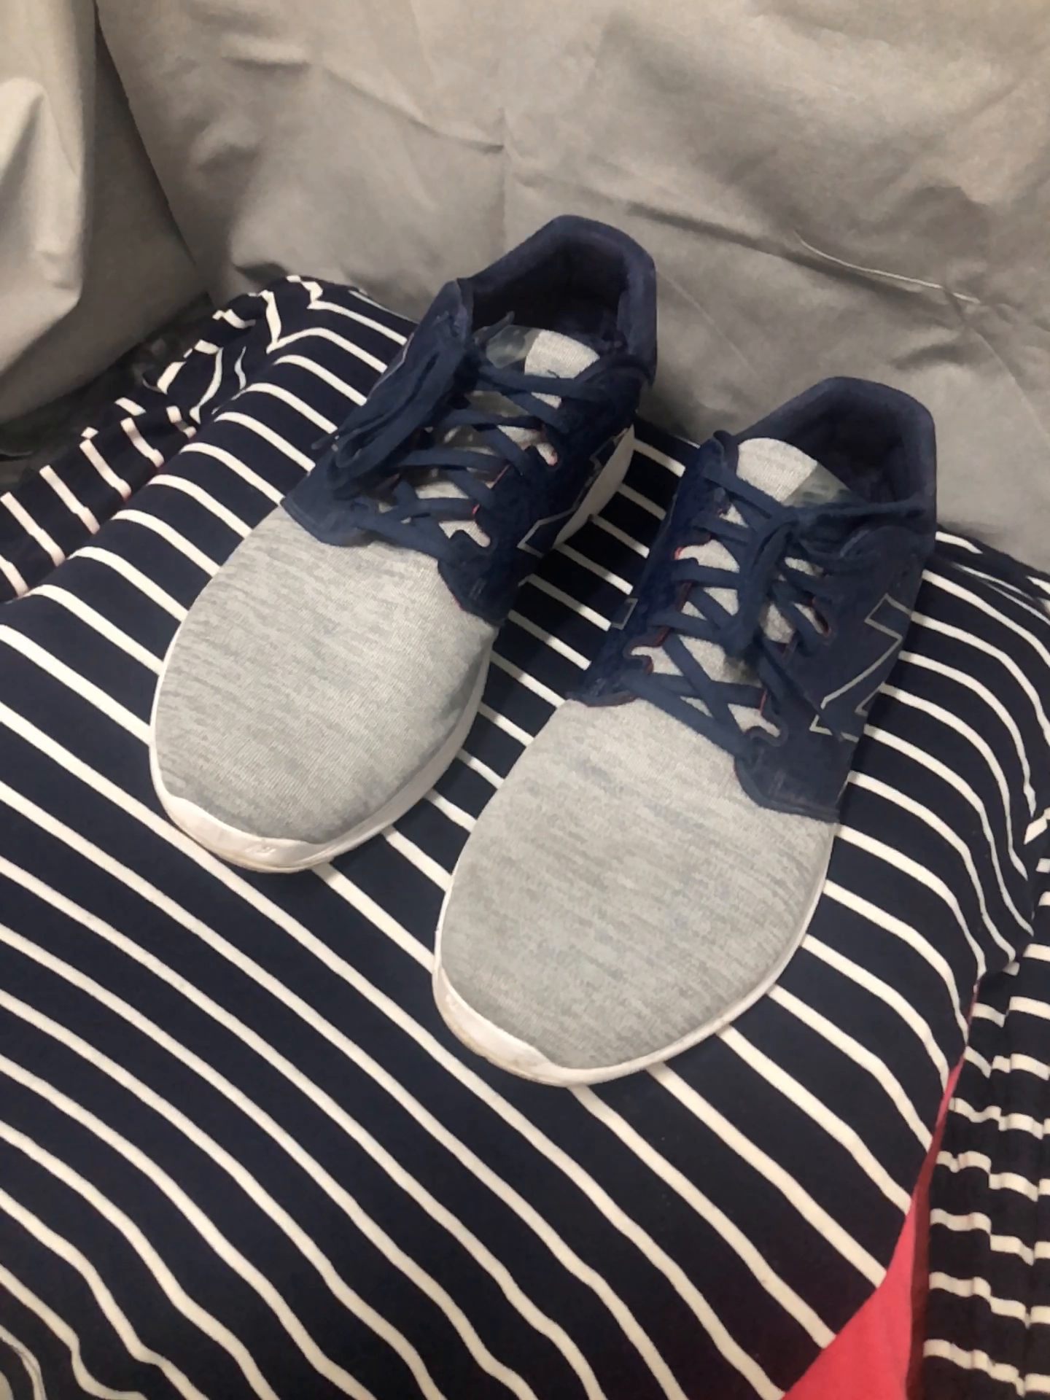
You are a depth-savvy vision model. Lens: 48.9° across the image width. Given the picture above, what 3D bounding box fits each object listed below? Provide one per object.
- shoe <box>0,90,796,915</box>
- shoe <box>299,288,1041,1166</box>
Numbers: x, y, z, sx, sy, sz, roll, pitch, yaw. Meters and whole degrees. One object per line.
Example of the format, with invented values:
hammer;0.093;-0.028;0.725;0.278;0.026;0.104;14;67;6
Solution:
shoe;-0.028;-0.096;0.415;0.120;0.089;0.322;29;54;10
shoe;0.057;-0.013;0.365;0.120;0.079;0.262;29;54;10
